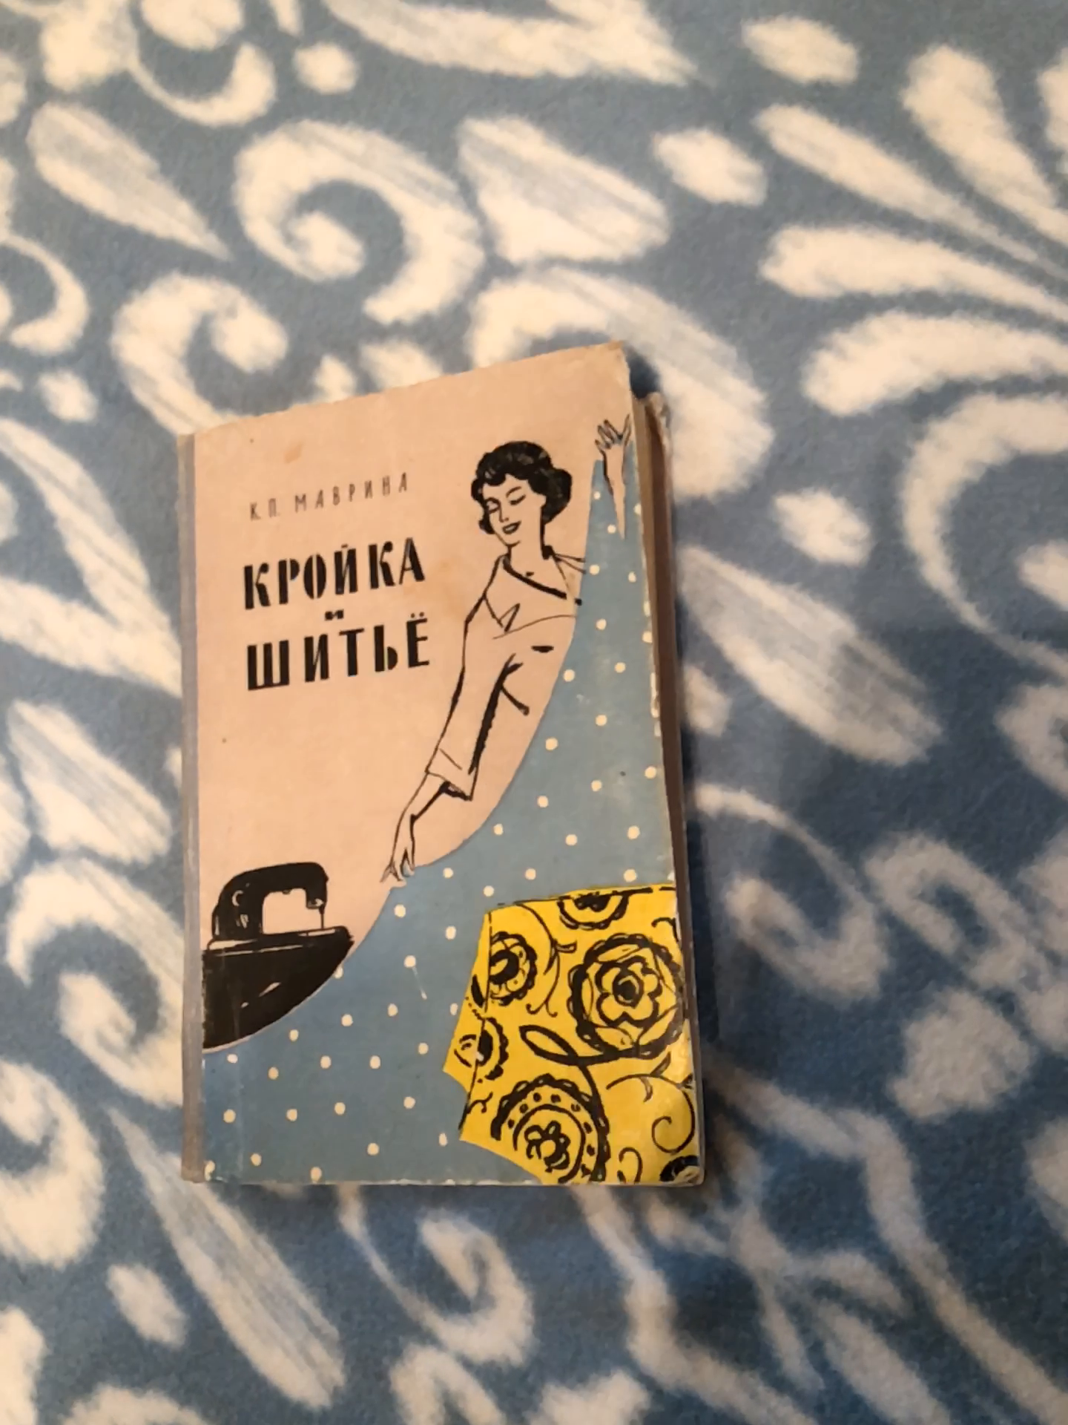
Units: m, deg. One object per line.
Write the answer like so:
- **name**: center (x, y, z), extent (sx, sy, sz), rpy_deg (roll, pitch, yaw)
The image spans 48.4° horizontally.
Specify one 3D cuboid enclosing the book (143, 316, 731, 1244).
- **book**: center (-0.032, 0.019, 0.334), extent (0.152, 0.037, 0.231), rpy_deg (-6, 78, 18)
